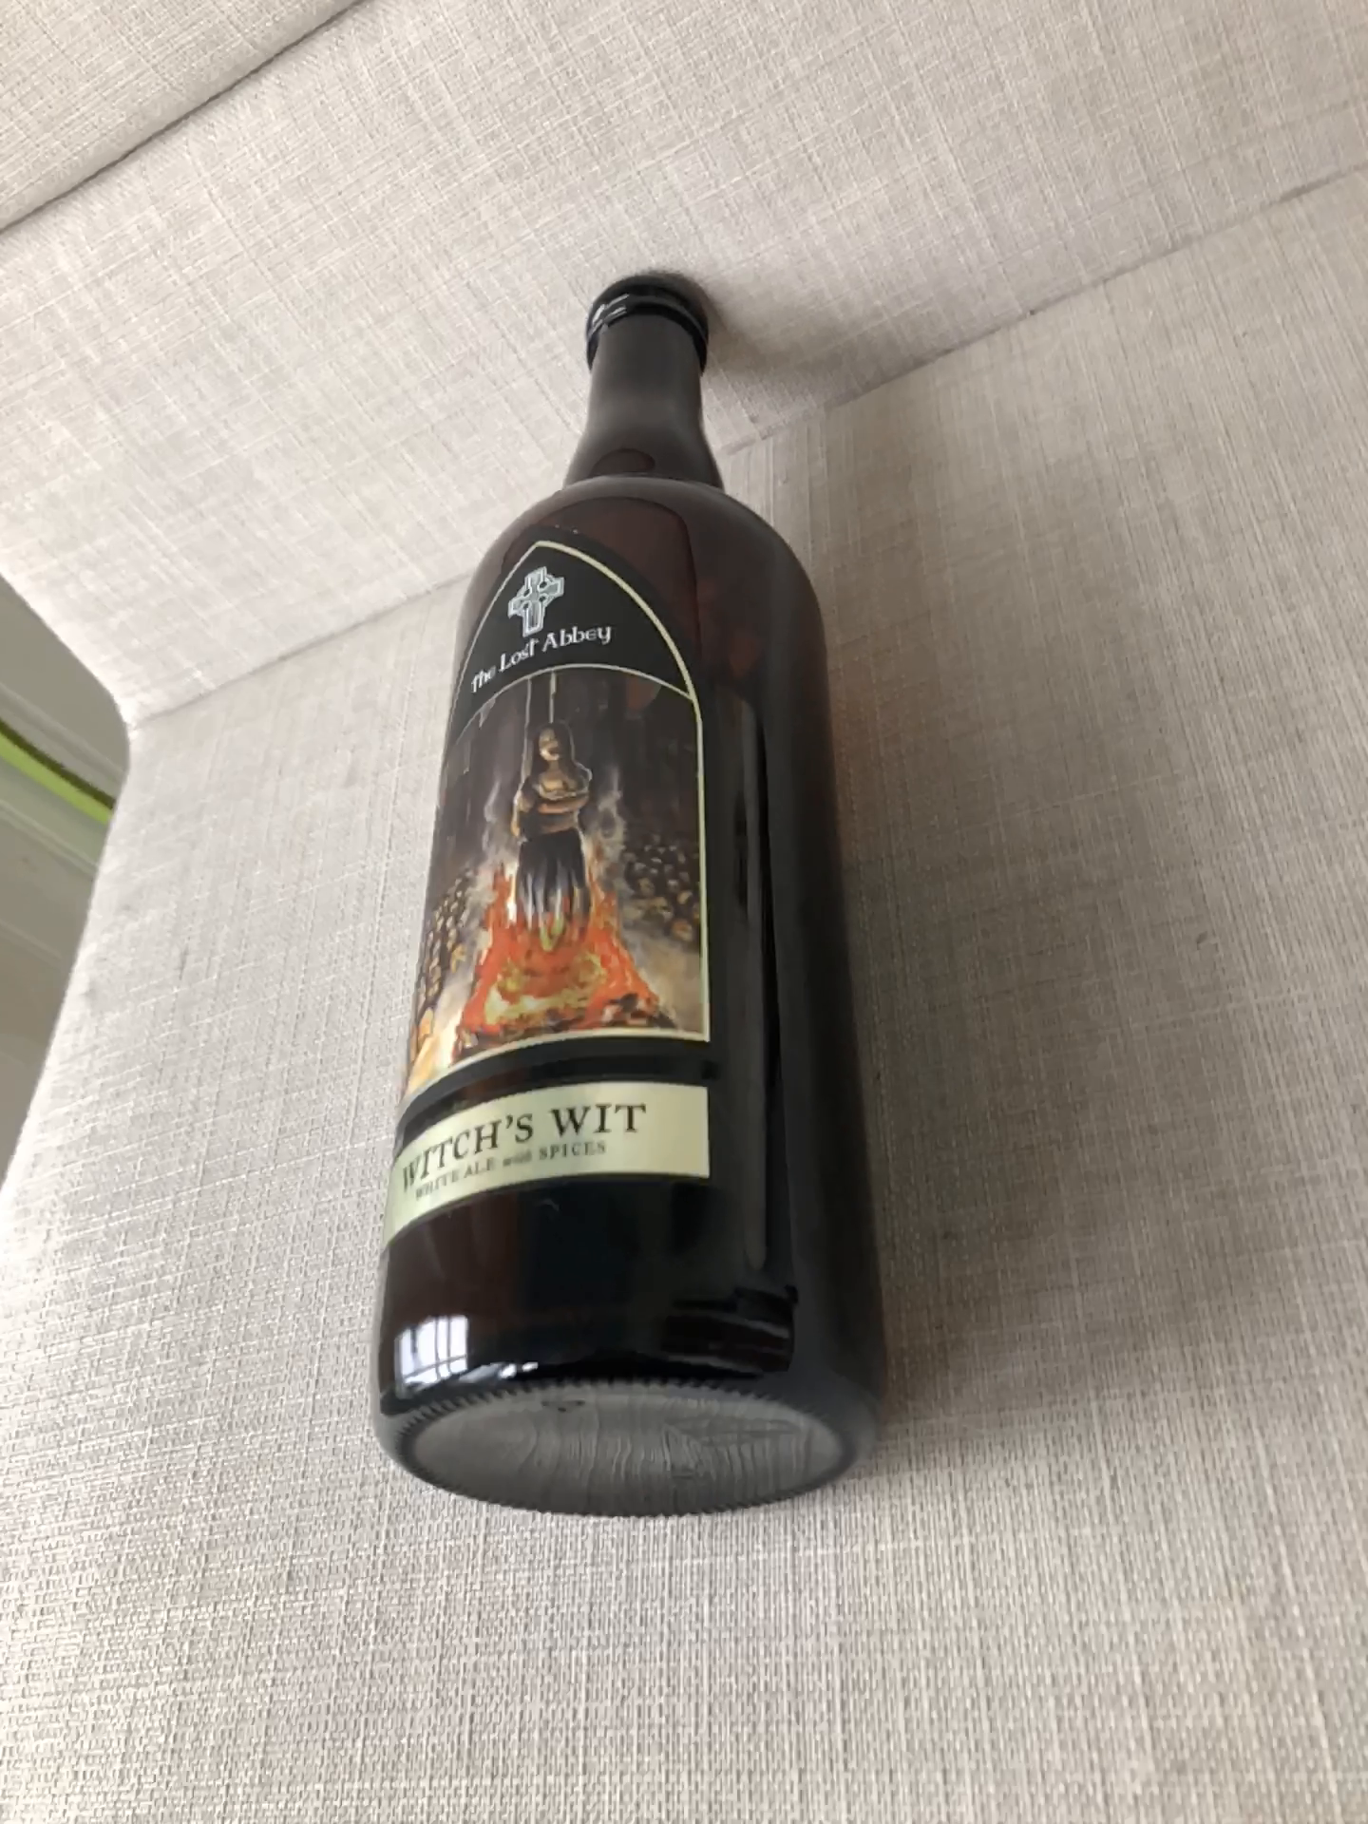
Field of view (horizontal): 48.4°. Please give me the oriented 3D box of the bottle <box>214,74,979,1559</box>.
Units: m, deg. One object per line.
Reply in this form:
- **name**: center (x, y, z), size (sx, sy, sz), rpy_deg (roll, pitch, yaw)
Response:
- **bottle**: center (-0.013, -0.035, 0.297), size (0.080, 0.079, 0.282), rpy_deg (-18, 53, 23)
